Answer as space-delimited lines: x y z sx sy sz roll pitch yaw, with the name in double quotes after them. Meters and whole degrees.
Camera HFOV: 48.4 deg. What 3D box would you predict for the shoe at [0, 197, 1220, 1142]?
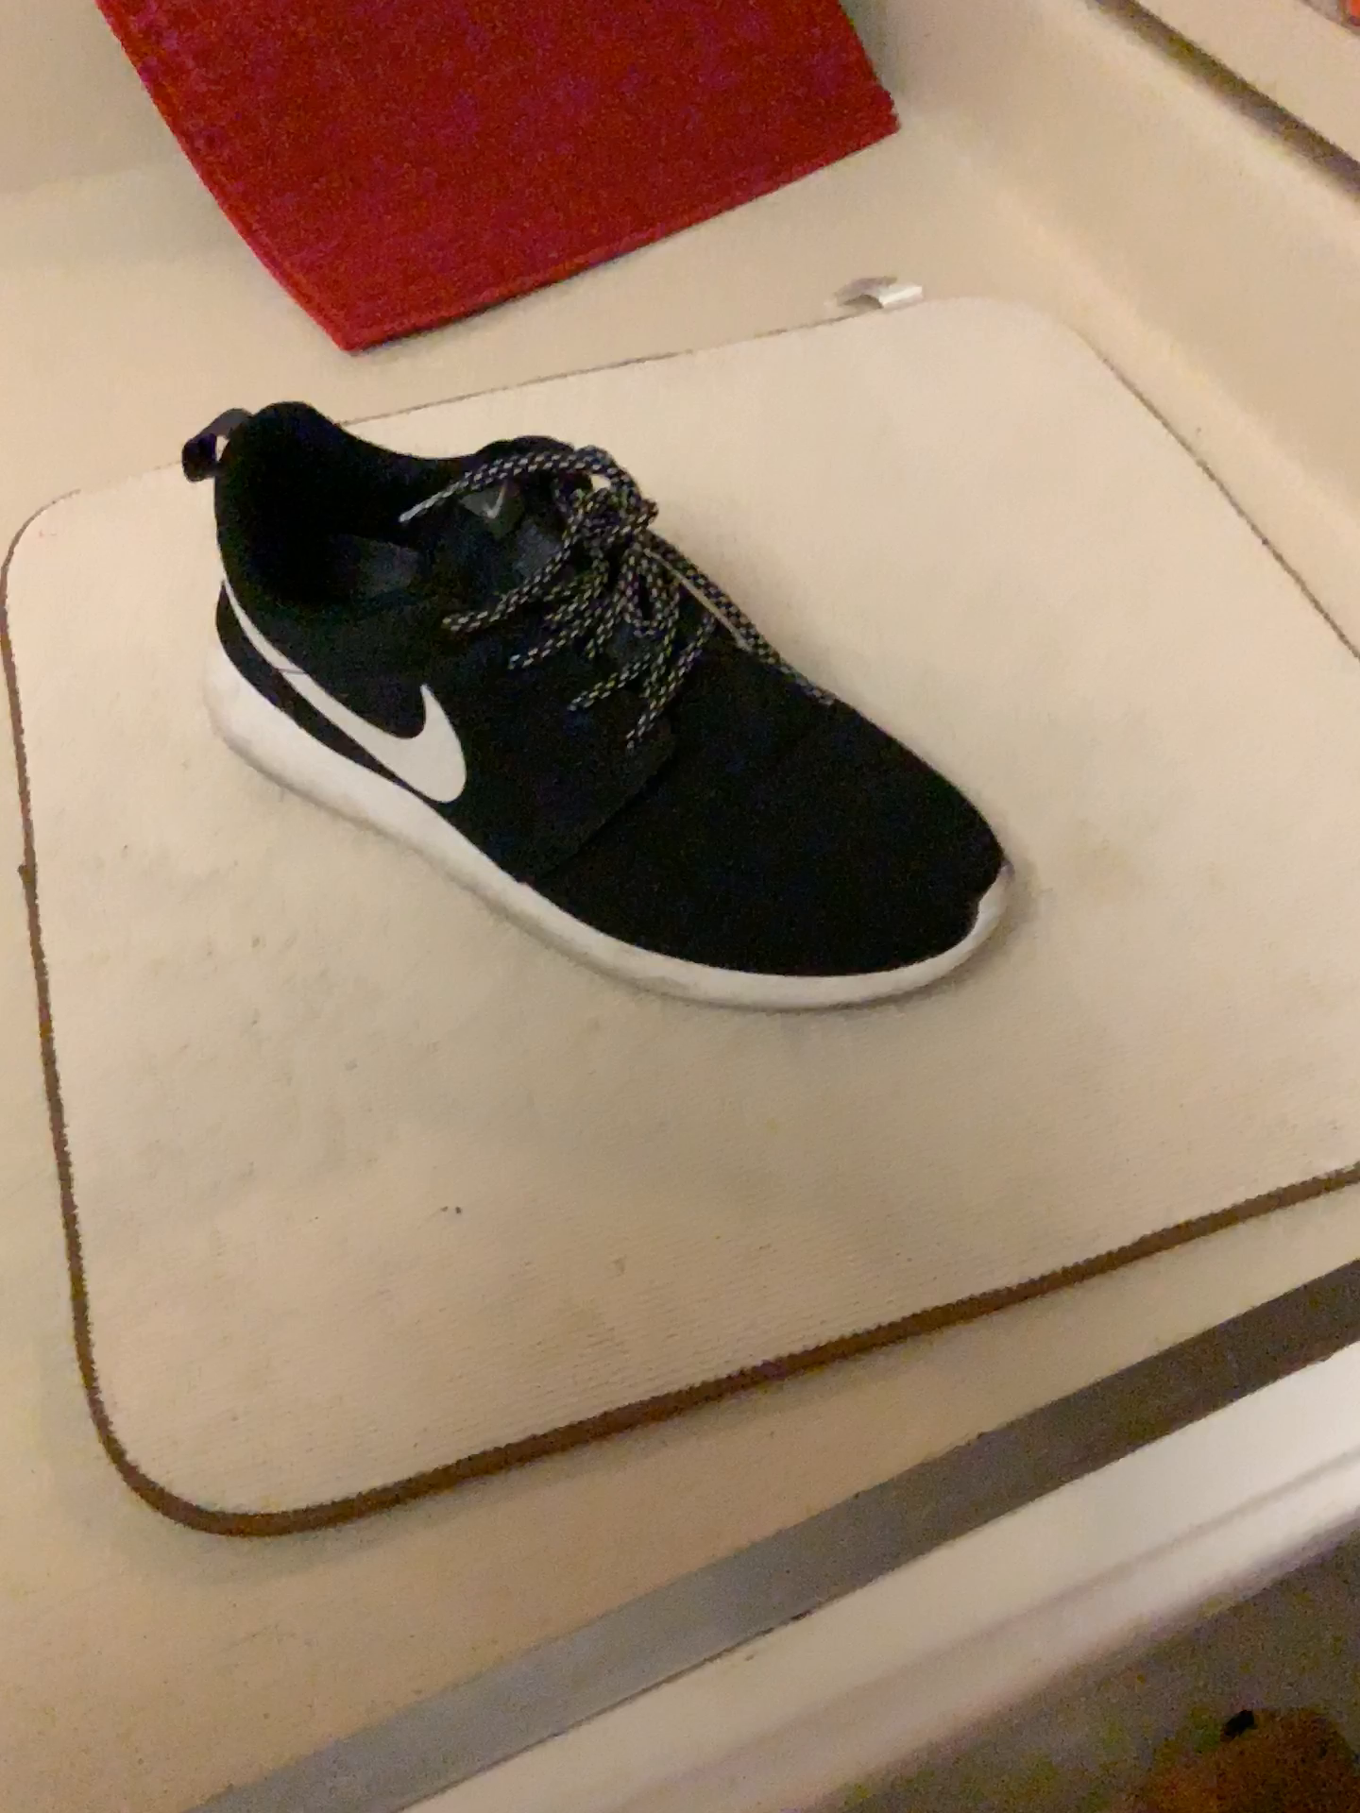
-0.023 -0.075 0.423 0.280 0.120 0.130 25 59 18 "shoe"
